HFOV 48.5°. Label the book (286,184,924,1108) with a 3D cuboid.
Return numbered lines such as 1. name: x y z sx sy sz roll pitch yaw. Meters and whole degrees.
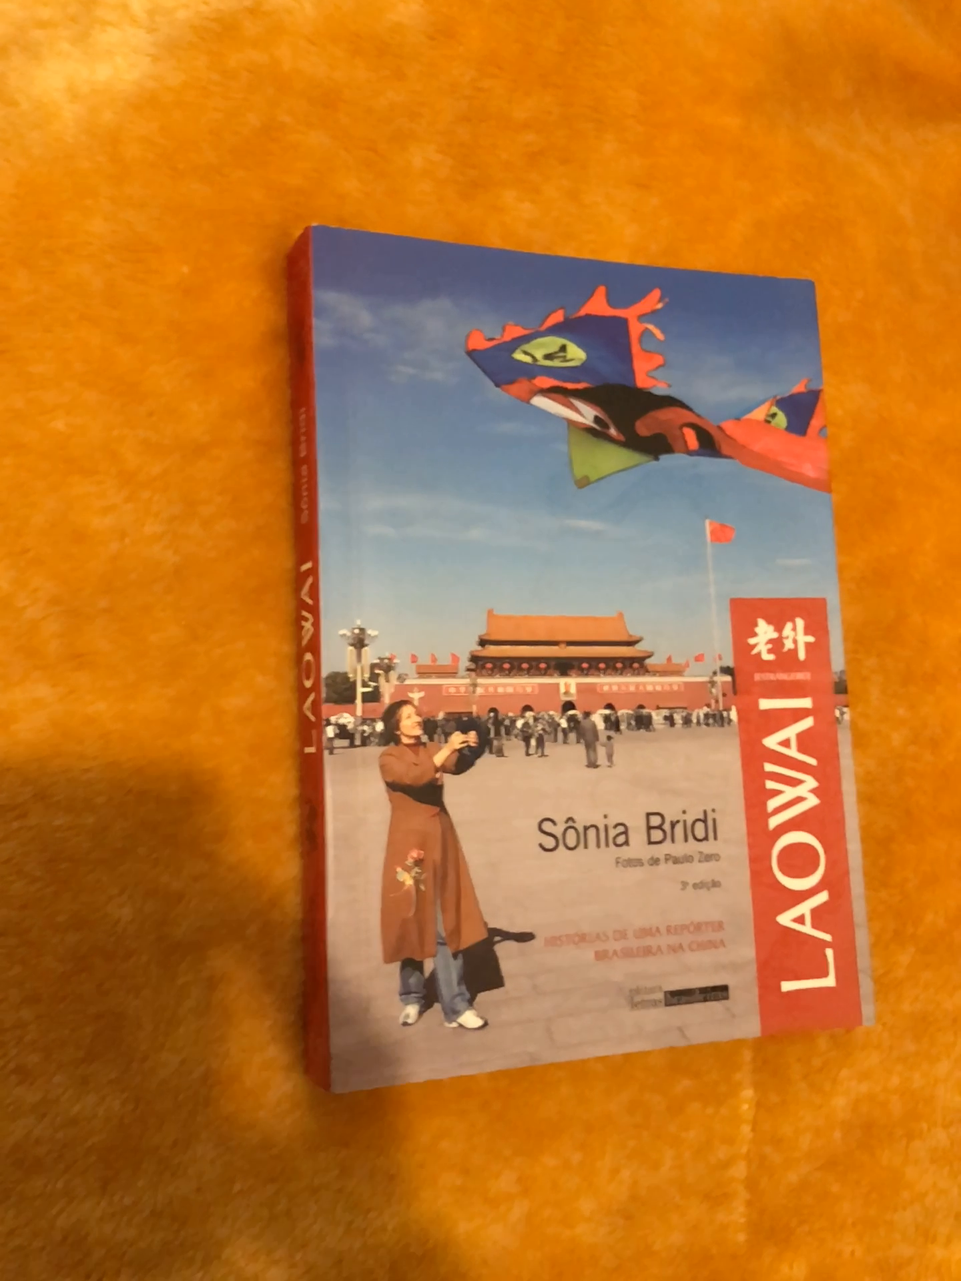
1. book: 0.032 -0.004 0.314 0.170 0.040 0.240 -1 82 -14
